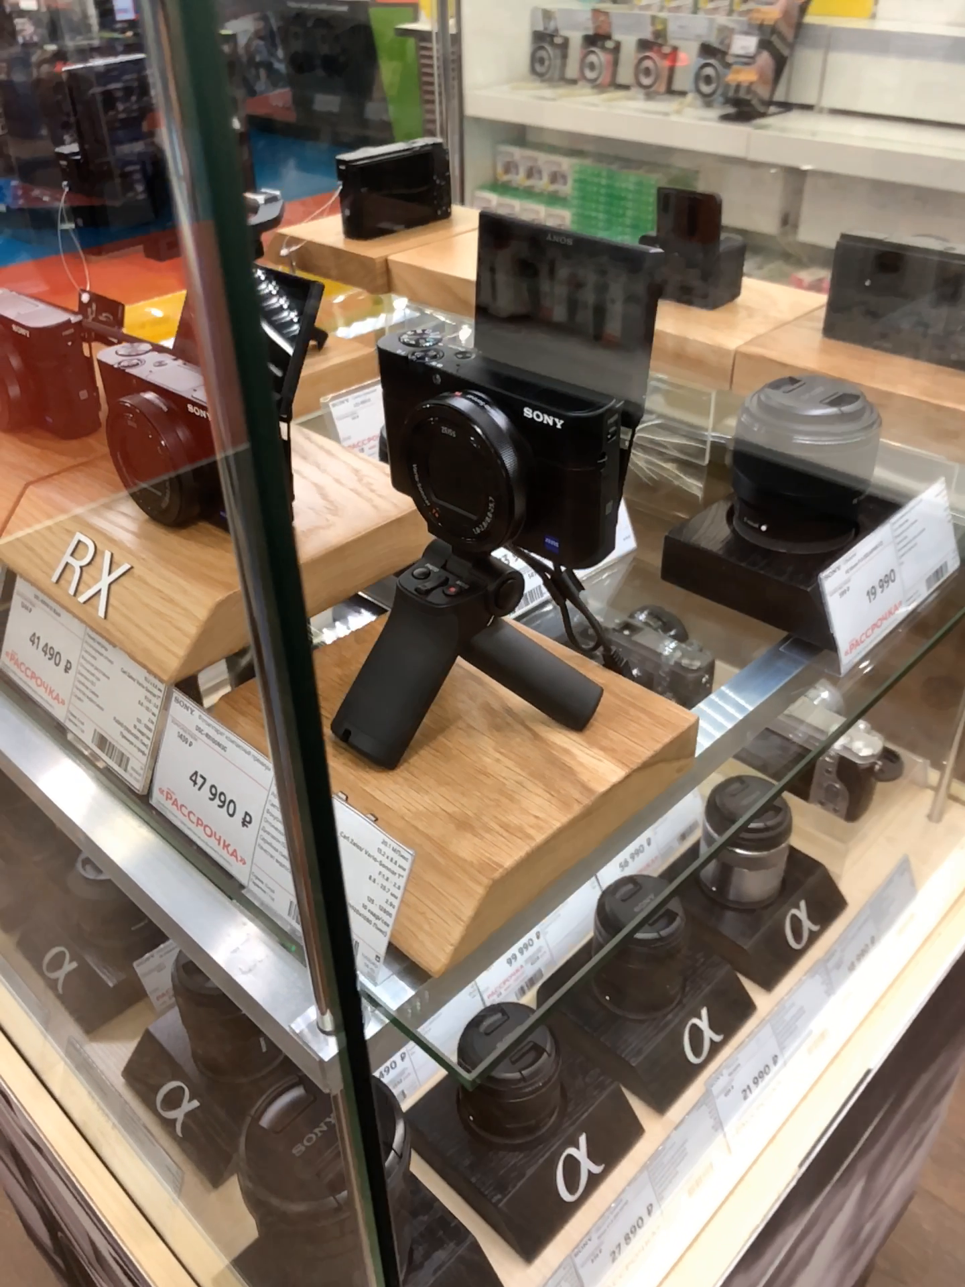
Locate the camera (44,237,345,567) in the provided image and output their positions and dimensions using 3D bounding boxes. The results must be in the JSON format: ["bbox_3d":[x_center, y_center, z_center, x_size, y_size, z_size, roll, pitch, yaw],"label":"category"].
[{"bbox_3d":[-0.122,-0.107,0.460,0.102,0.102,0.065,28,44,35],"label":"camera"}]

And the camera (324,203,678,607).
[{"bbox_3d":[0.005,-0.086,0.371,0.102,0.102,0.057,28,44,35],"label":"camera"}]
